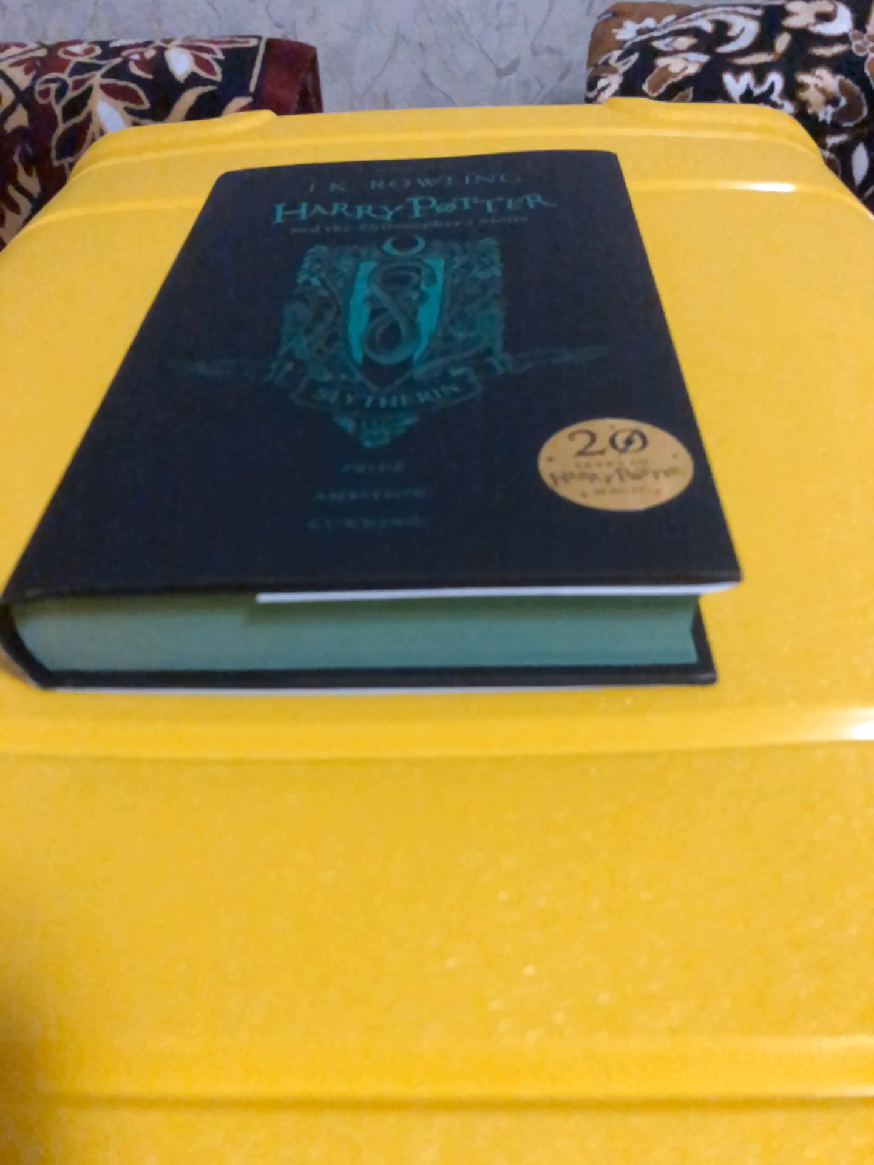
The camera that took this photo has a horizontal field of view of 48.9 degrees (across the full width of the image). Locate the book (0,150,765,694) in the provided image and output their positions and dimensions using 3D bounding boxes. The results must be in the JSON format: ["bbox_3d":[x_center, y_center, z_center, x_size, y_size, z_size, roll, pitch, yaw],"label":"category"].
[{"bbox_3d":[-0.010,-0.059,0.249,0.136,0.030,0.206,-1,42,3],"label":"book"}]
